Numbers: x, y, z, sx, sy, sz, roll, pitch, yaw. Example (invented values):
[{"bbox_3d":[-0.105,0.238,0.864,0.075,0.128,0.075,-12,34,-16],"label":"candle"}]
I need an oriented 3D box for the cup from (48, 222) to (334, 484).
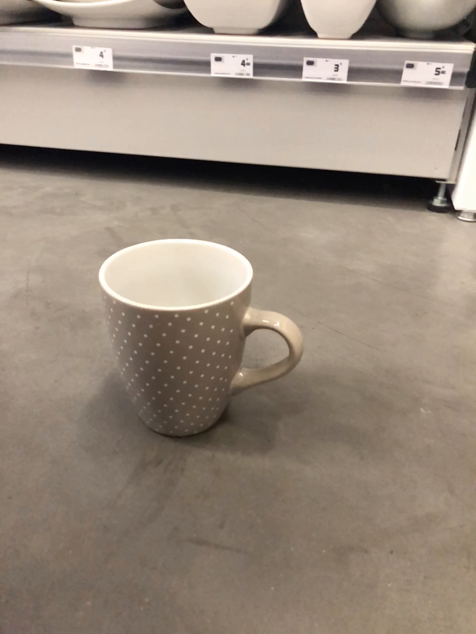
[{"bbox_3d":[-0.023,0.016,0.331,0.141,0.107,0.092,11,33,15],"label":"cup"}]
